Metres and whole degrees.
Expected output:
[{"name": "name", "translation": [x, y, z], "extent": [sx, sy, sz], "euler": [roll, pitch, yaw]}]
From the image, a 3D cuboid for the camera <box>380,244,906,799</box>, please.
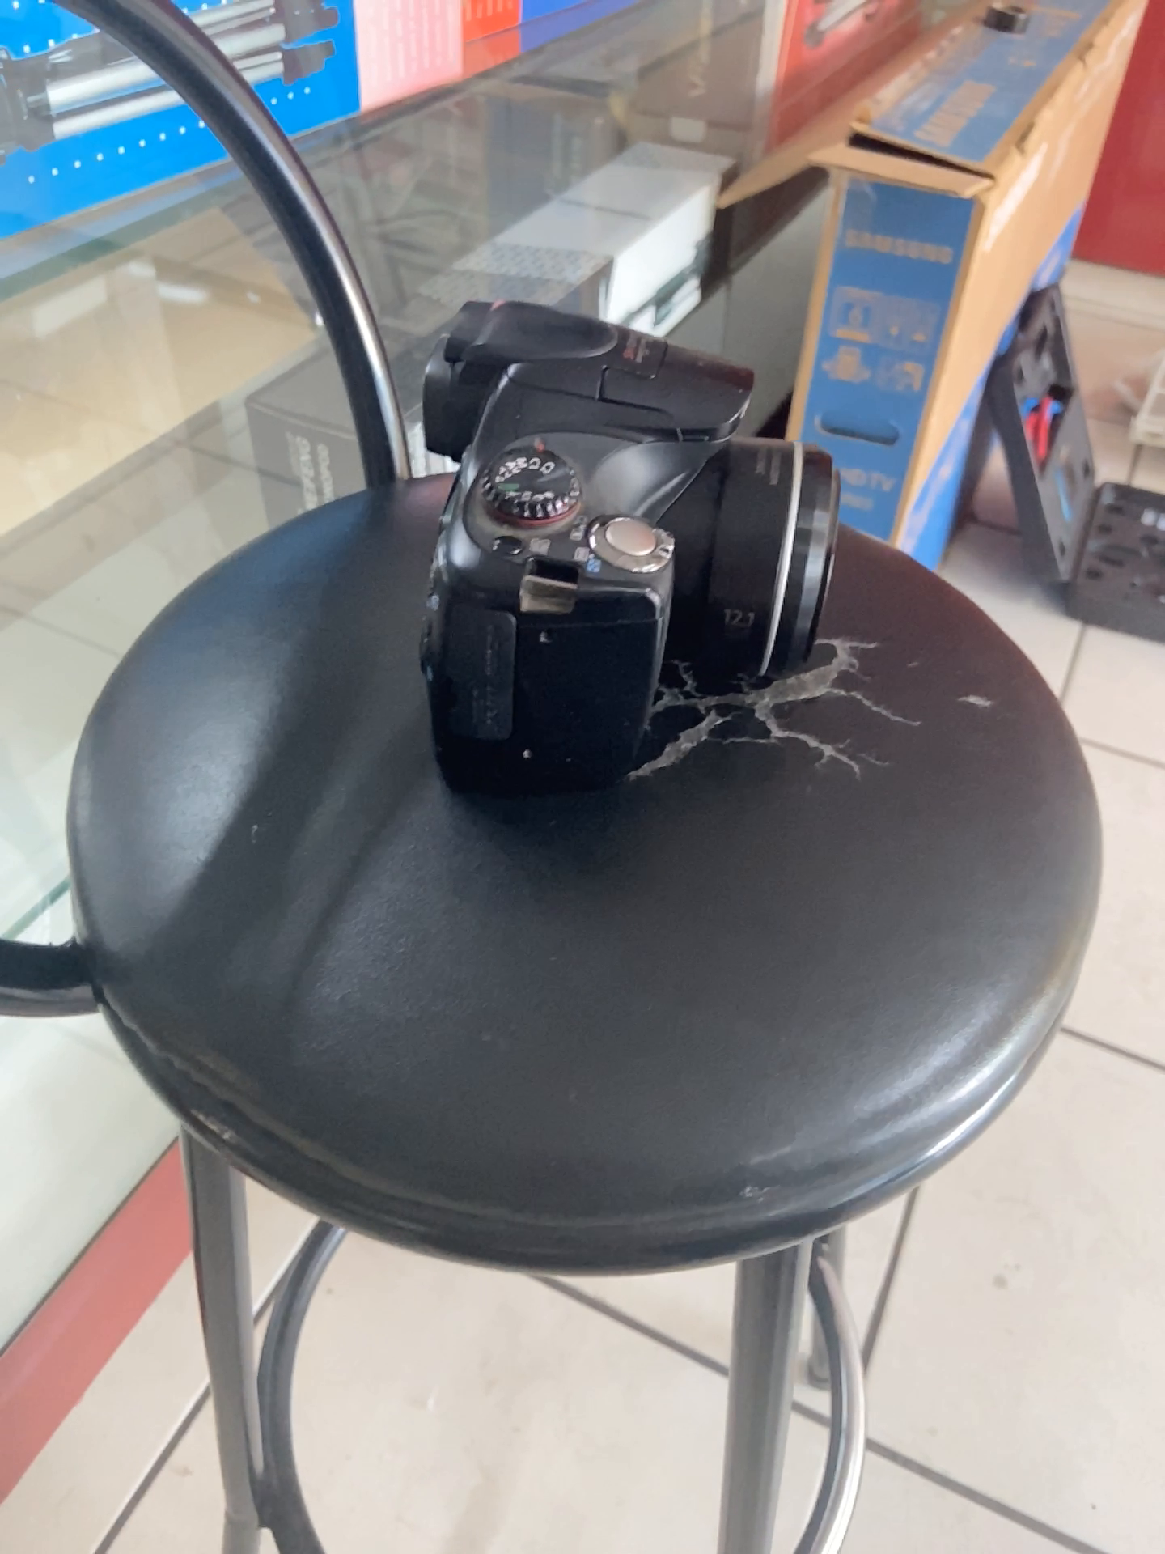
[{"name": "camera", "translation": [0.016, -0.073, 0.326], "extent": [0.110, 0.089, 0.121], "euler": [5, 43, 3]}]
